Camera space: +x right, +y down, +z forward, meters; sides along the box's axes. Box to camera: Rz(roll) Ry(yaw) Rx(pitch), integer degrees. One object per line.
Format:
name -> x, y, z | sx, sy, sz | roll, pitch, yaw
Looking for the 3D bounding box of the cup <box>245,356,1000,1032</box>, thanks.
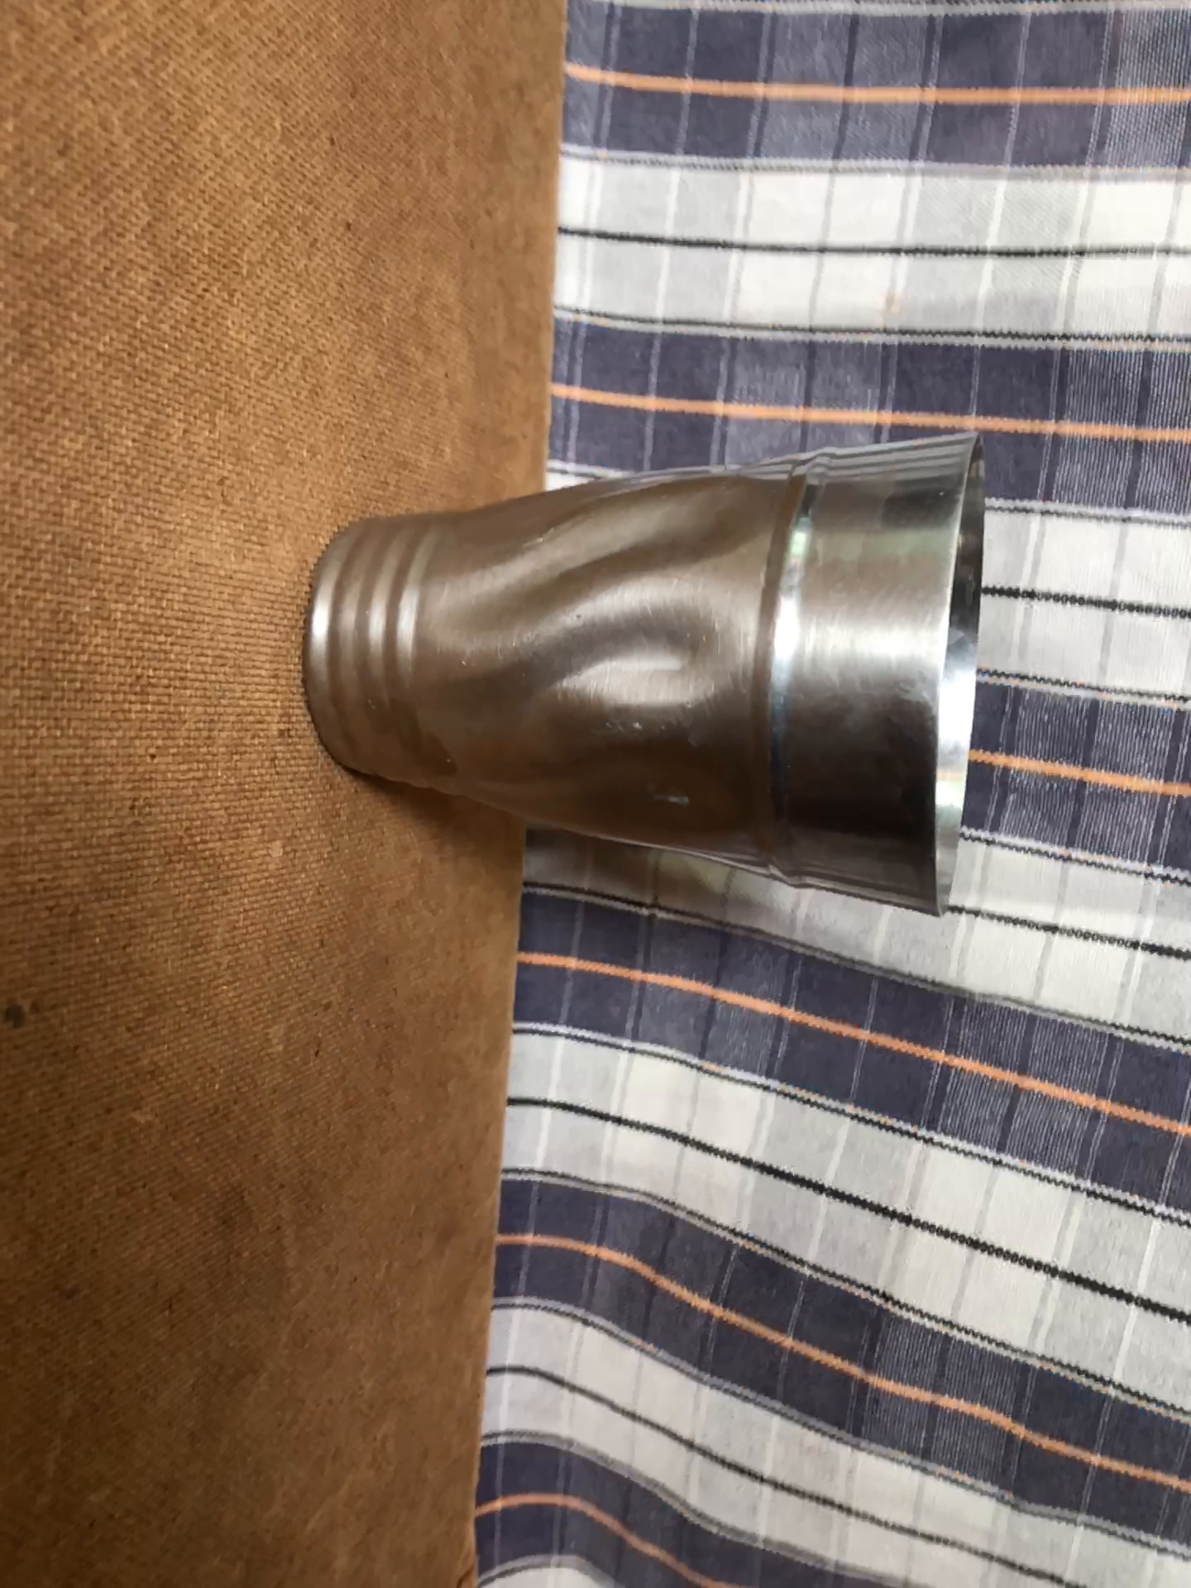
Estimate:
cup -> 0.014, -0.015, 0.230 | 0.080, 0.099, 0.080 | 5, 90, -72
